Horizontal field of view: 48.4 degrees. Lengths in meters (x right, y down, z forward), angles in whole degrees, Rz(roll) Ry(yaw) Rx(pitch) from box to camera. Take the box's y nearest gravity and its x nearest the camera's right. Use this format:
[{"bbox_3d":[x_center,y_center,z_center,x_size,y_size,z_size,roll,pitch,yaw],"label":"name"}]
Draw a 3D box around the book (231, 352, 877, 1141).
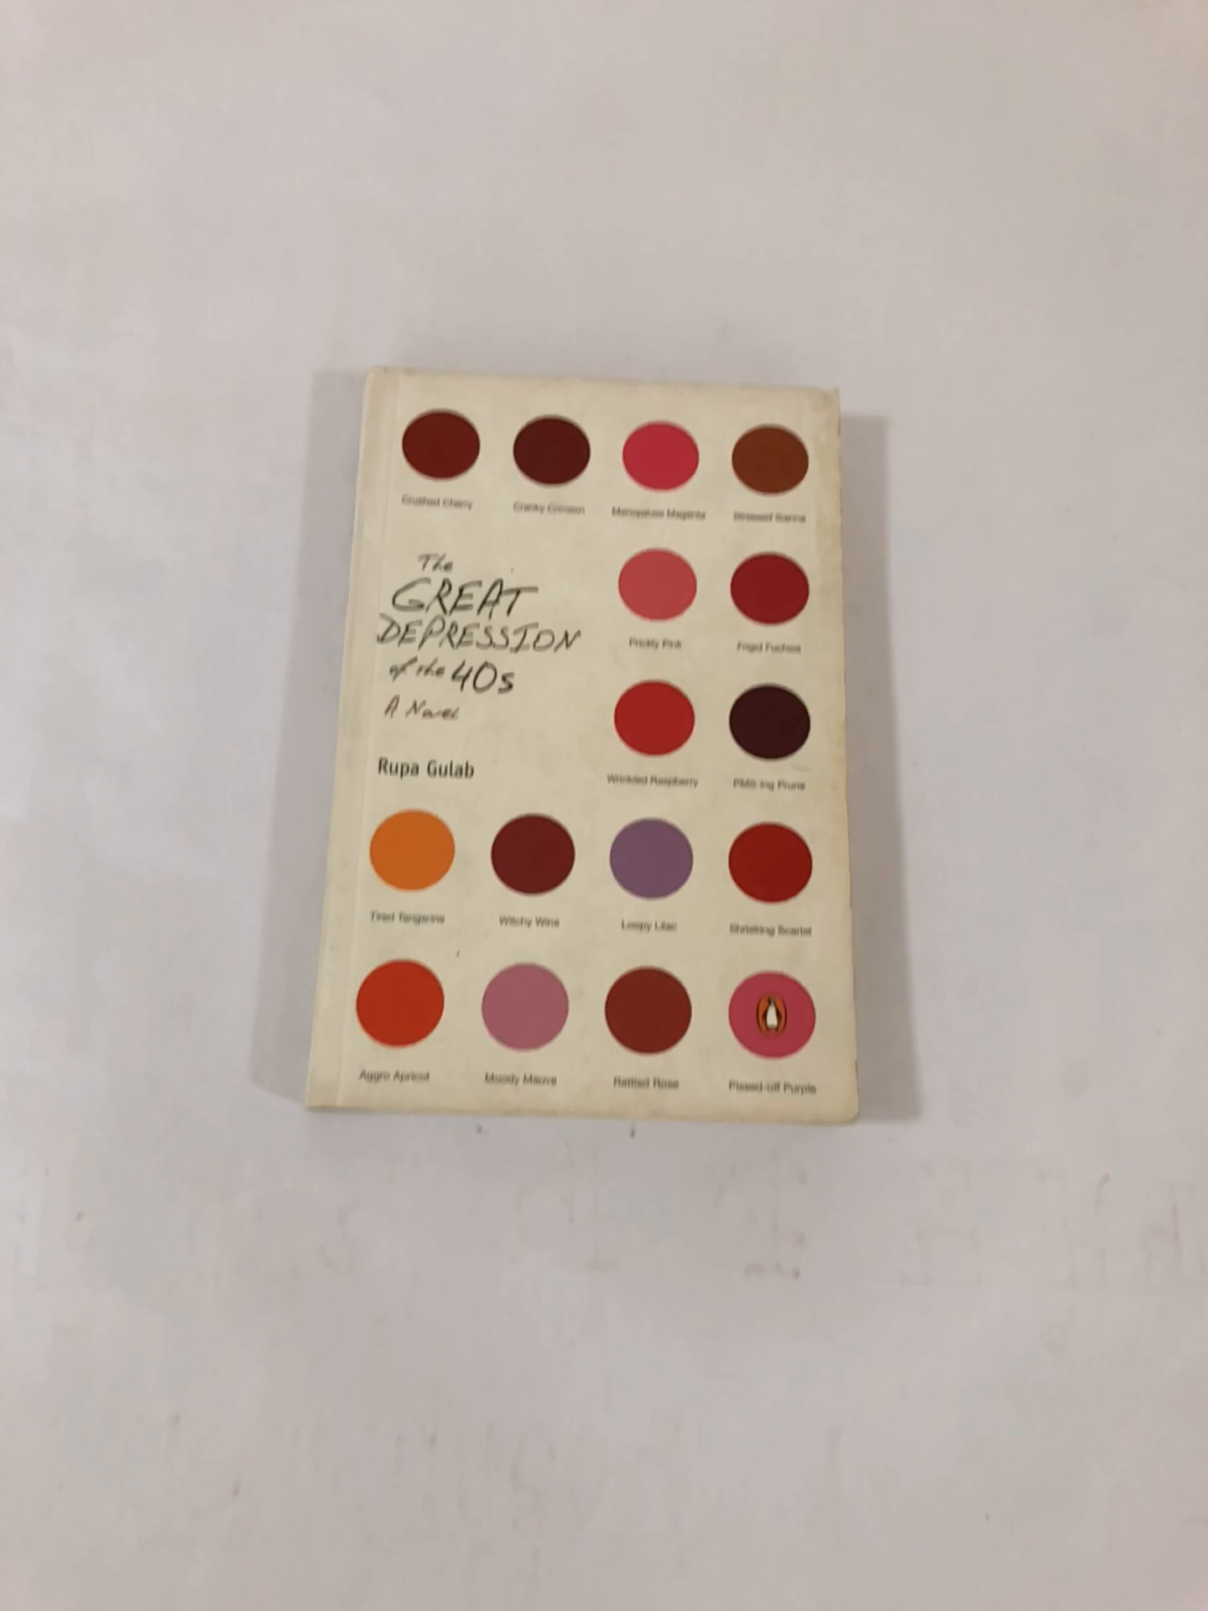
[{"bbox_3d":[-0.008,-0.018,0.333,0.140,0.030,0.190,2,73,-2],"label":"book"}]
